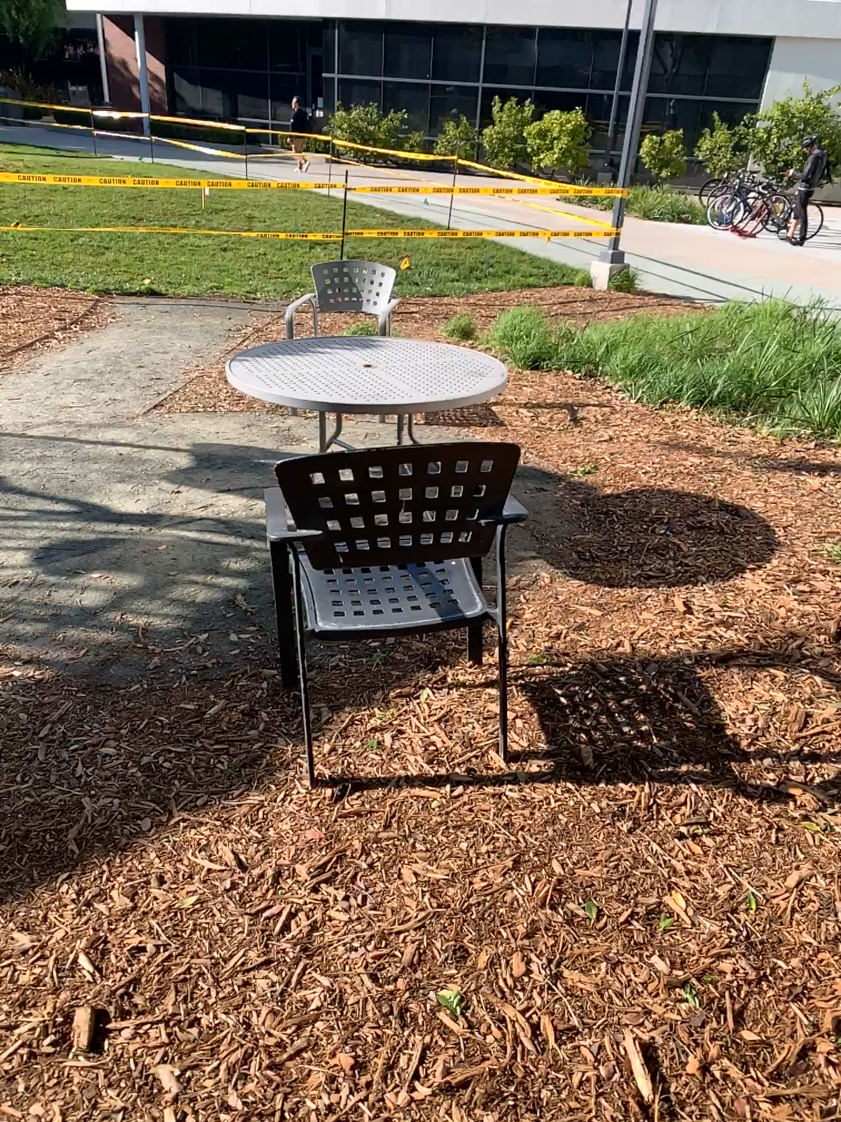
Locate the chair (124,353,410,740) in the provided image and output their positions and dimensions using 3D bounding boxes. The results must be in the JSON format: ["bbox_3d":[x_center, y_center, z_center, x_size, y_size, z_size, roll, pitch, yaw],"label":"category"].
[{"bbox_3d":[-0.331,-0.047,1.968,0.520,0.716,0.503,-1,29,-8],"label":"chair"}]
